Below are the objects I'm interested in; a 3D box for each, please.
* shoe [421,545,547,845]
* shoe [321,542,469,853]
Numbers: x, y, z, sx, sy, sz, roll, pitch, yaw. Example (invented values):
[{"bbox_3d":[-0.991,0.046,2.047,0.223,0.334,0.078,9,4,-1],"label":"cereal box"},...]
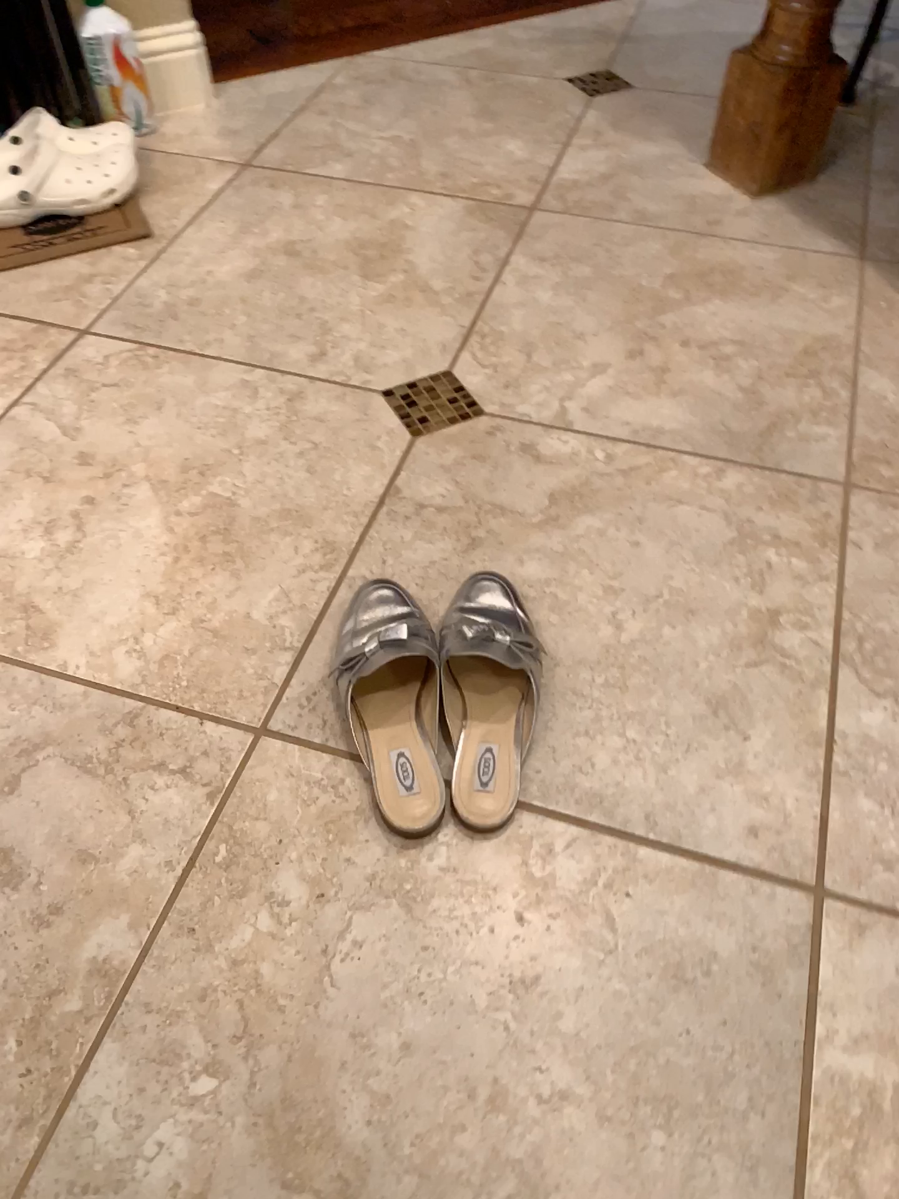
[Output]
[{"bbox_3d":[0.036,0.078,0.856,0.101,0.077,0.278,2,50,3],"label":"shoe"},{"bbox_3d":[-0.055,0.079,0.850,0.091,0.077,0.281,-9,50,-7],"label":"shoe"}]
